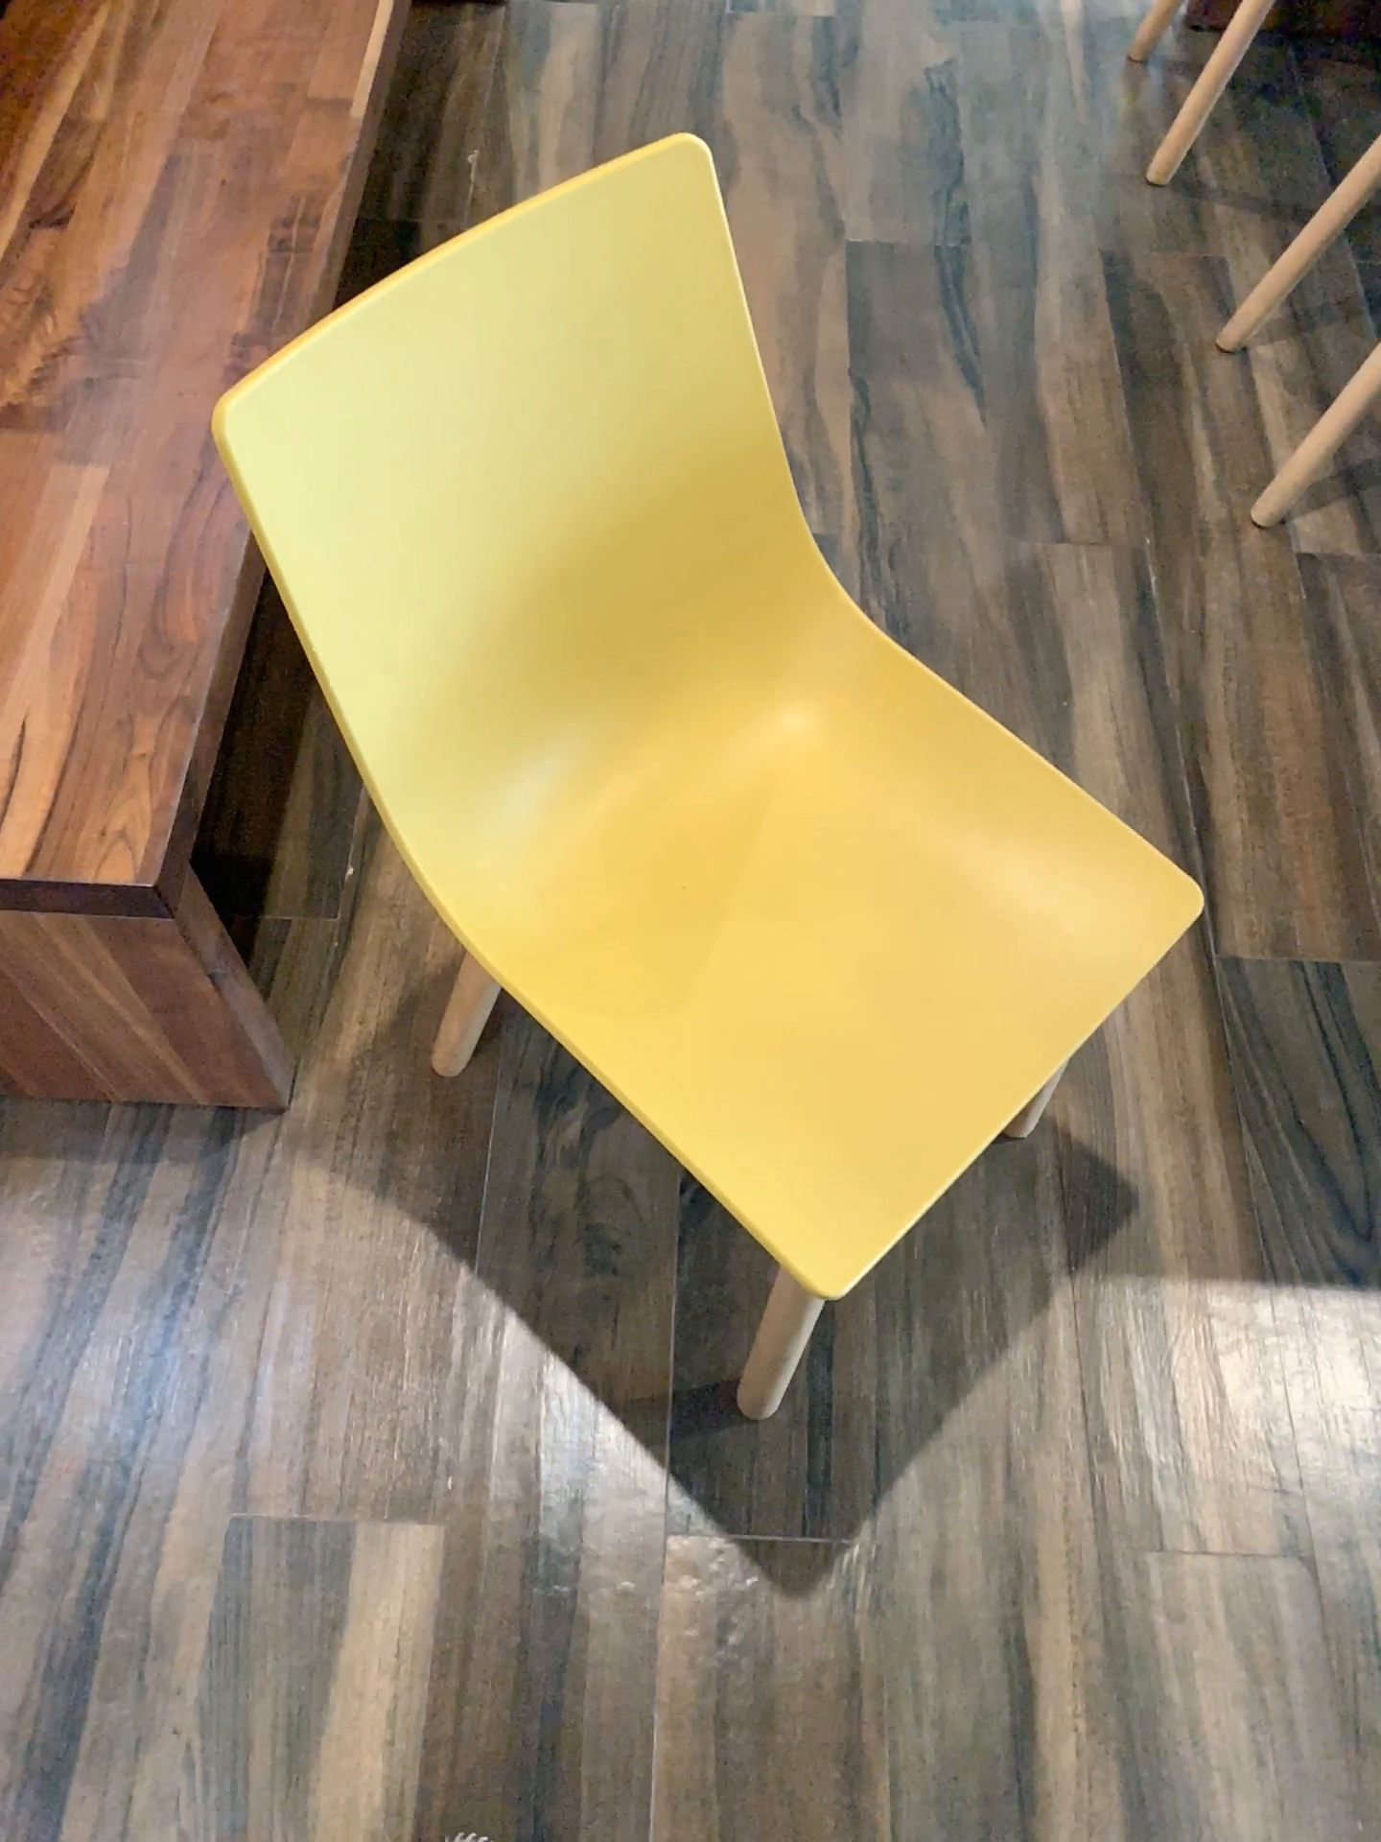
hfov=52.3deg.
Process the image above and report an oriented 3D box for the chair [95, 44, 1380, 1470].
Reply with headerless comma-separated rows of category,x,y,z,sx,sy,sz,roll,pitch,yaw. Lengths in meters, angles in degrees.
chair,0.053,-0.038,0.957,0.501,0.716,0.451,41,67,19
